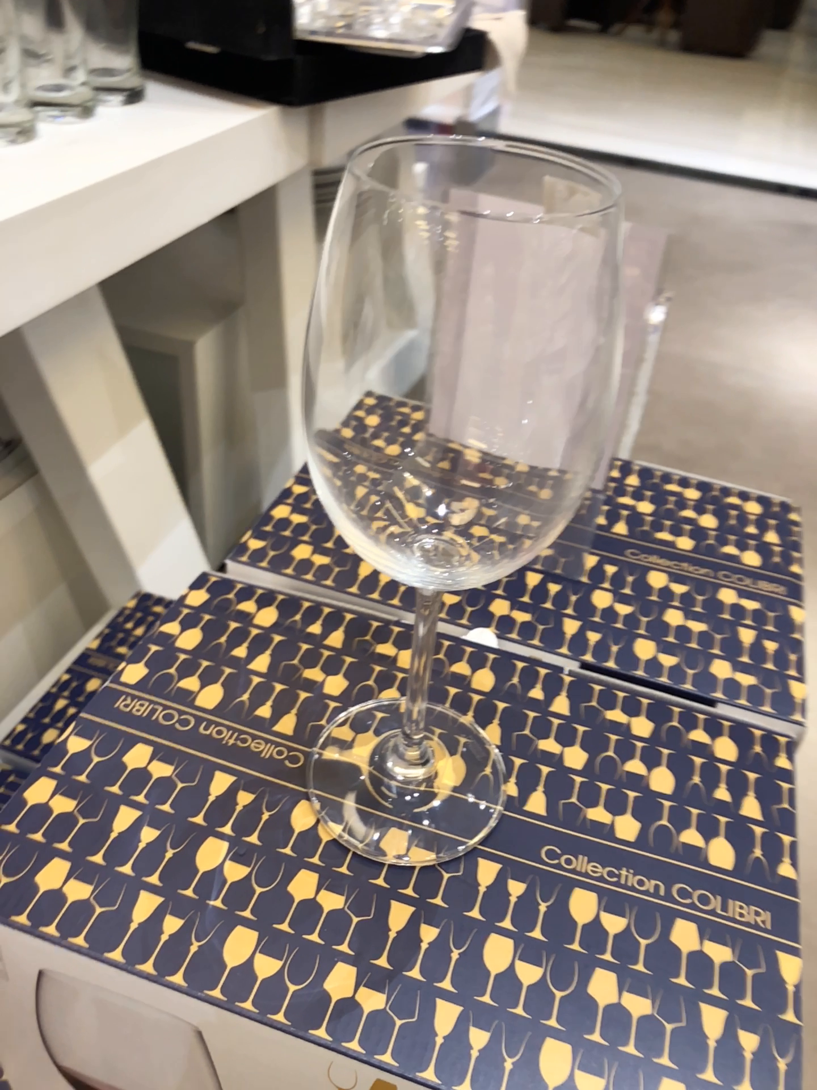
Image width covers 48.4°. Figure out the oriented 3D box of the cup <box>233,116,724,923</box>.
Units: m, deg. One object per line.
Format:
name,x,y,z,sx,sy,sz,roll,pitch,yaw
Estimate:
cup,0.013,-0.001,0.273,0.090,0.208,0.091,4,37,-3
